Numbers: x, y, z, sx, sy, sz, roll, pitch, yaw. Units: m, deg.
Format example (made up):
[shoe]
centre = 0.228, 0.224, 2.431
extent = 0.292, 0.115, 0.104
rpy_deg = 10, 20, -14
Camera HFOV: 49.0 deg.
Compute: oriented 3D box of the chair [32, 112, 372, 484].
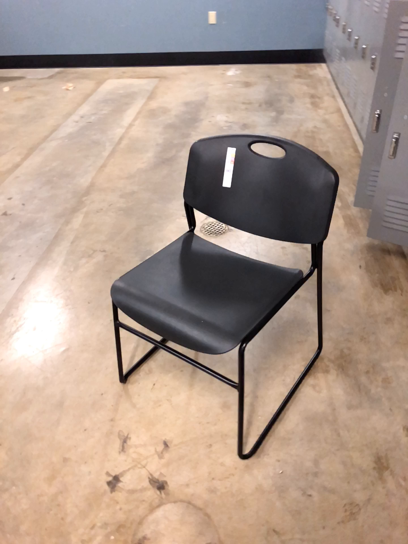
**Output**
[chair]
centre = 0.026, 0.025, 1.203
extent = 0.545, 0.665, 0.548
rpy_deg = 22, 44, 30
